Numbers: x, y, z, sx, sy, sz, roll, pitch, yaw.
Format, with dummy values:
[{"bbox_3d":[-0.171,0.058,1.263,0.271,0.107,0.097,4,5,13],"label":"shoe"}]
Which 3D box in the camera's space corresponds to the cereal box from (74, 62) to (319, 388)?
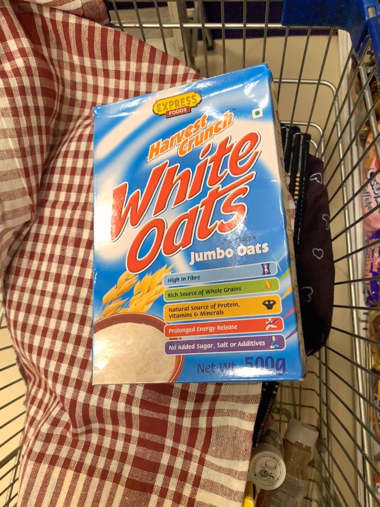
[{"bbox_3d":[0.001,-0.013,0.281,0.150,0.060,0.200,-7,77,16],"label":"cereal box"}]
